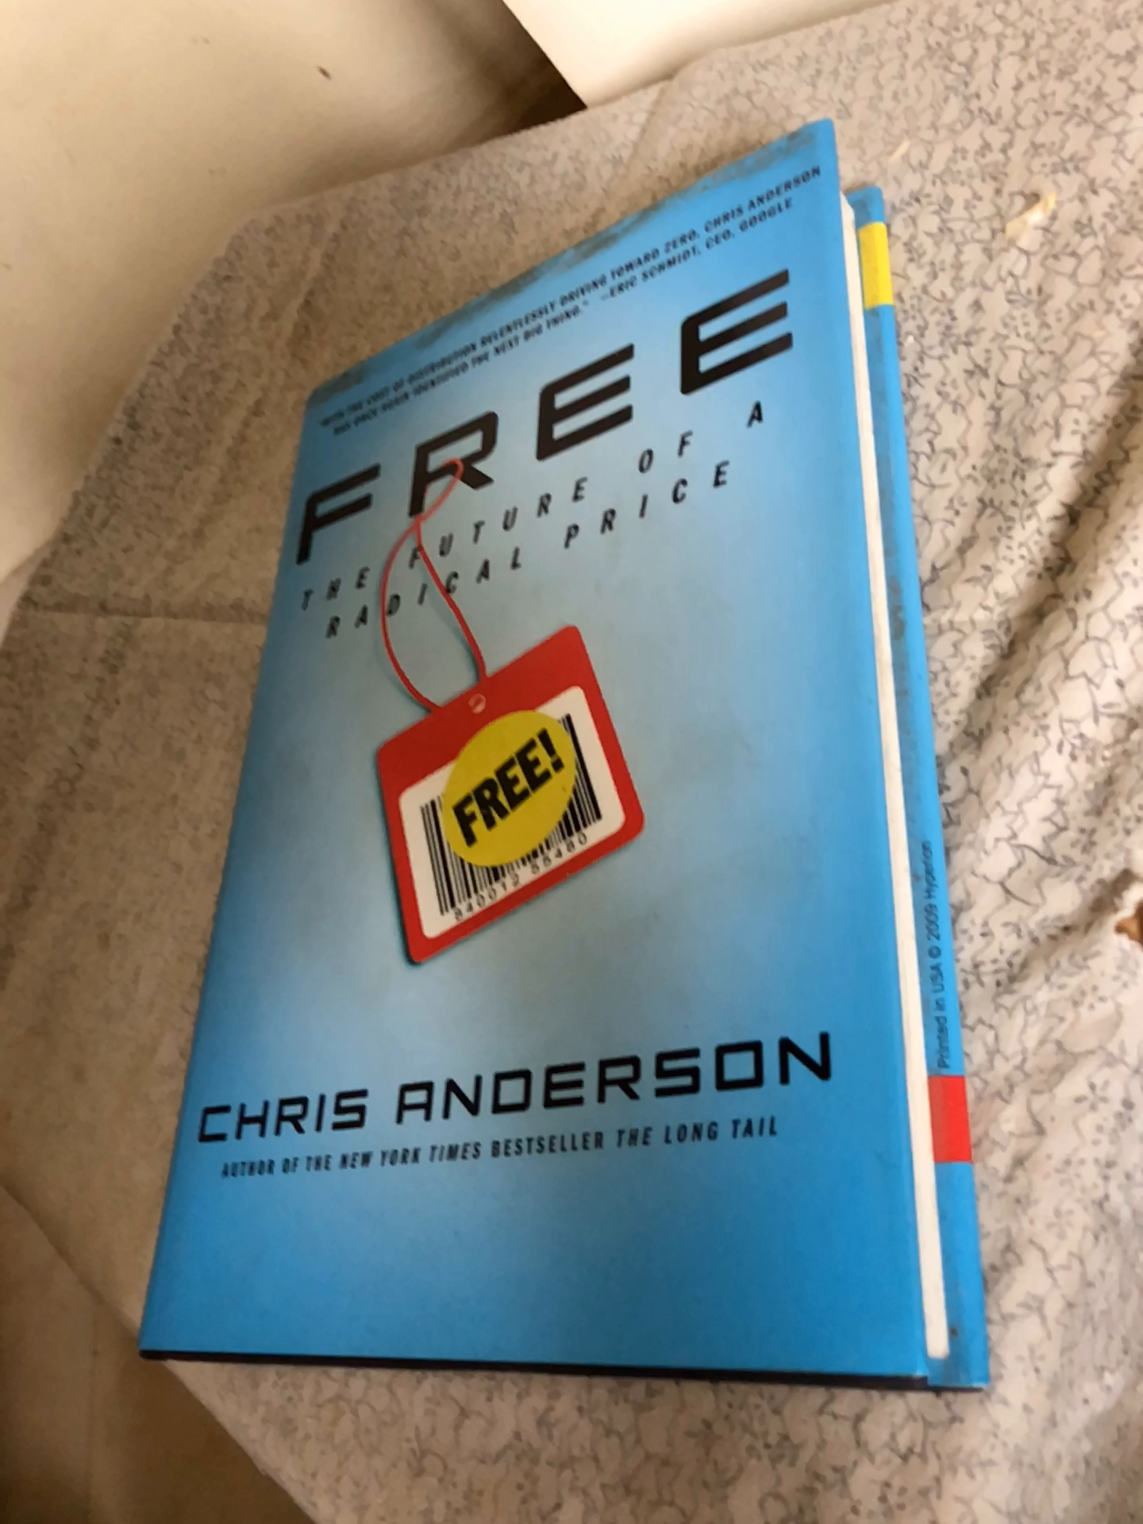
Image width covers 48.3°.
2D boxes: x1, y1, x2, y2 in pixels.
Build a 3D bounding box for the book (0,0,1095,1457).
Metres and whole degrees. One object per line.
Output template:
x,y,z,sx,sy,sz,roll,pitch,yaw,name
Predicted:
-0.016,-0.030,0.248,0.181,0.040,0.280,-18,54,34,book
